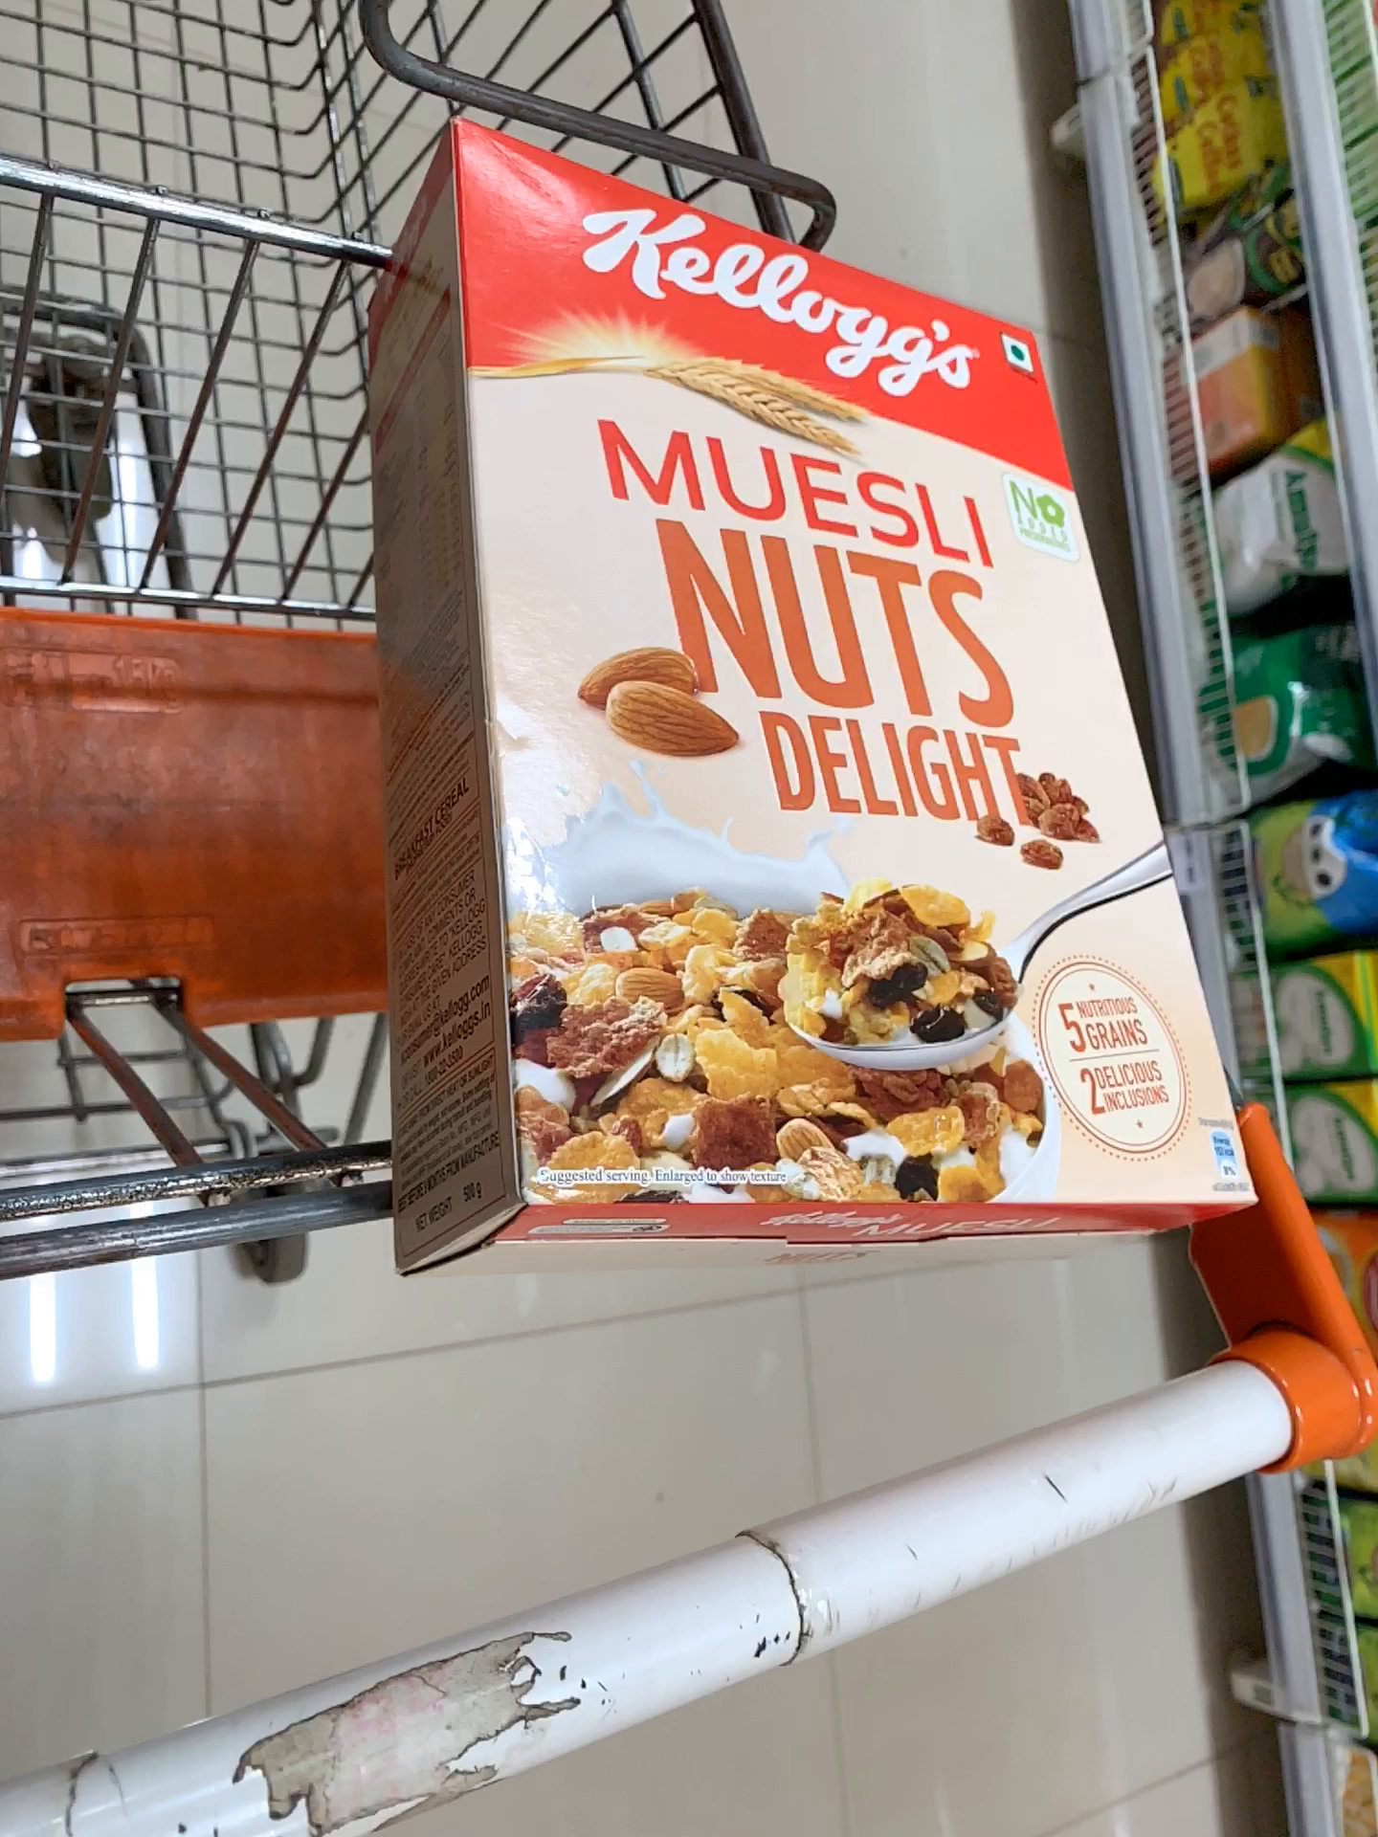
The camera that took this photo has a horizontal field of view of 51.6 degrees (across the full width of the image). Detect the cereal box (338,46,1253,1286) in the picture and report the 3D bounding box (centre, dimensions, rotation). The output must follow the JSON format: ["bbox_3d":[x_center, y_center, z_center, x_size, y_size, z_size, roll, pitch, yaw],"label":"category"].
[{"bbox_3d":[0.019,-0.054,0.366,0.191,0.080,0.270,5,68,-31],"label":"cereal box"}]
